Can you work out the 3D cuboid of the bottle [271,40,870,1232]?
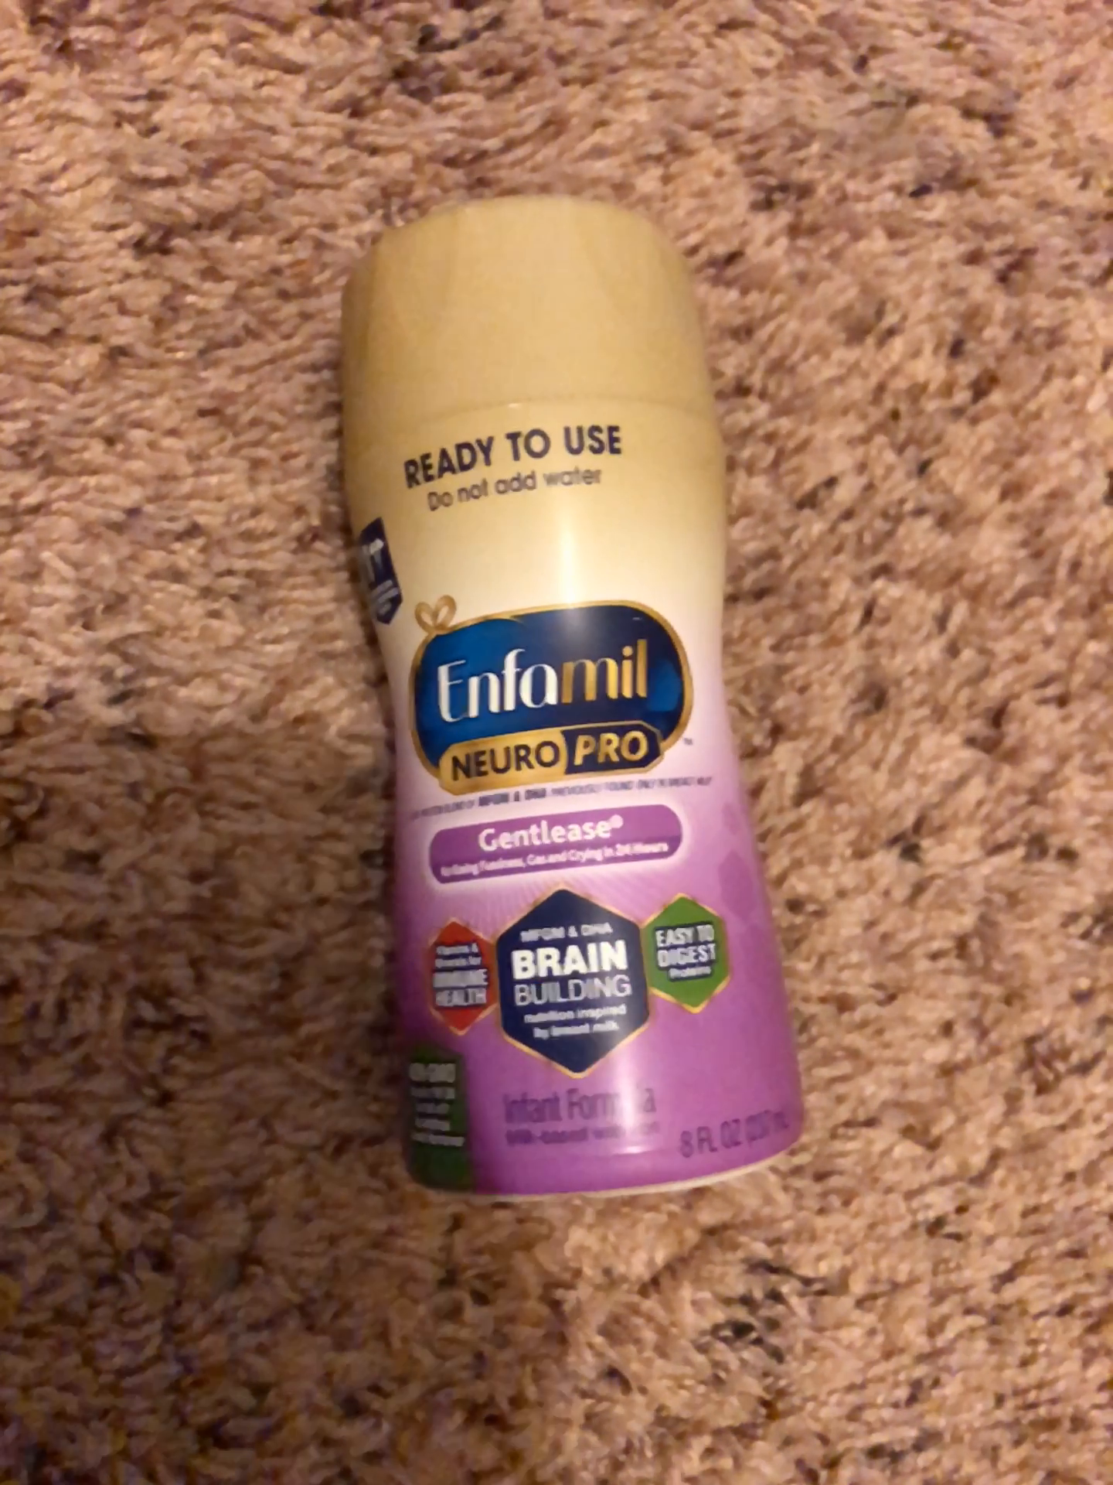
[{"bbox_3d":[0.004,-0.011,0.194,0.060,0.060,0.150,-8,84,22],"label":"bottle"}]
